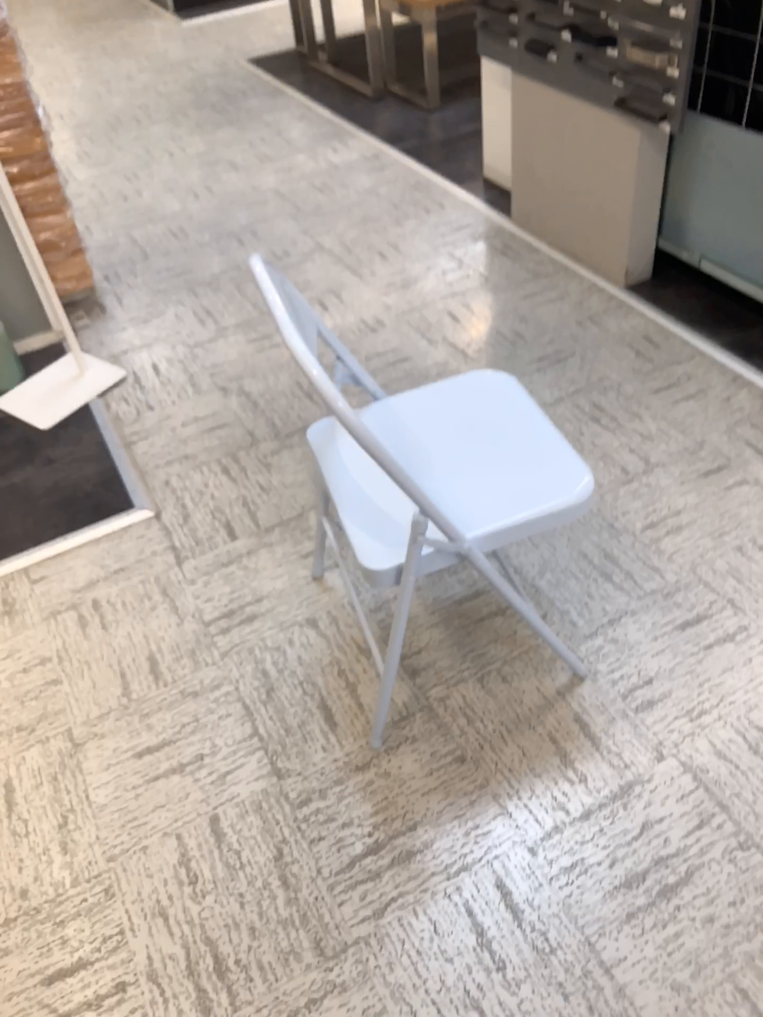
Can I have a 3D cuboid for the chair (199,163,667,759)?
[{"bbox_3d":[0.066,-0.075,1.372,0.481,0.706,0.512,-17,43,-10],"label":"chair"}]
